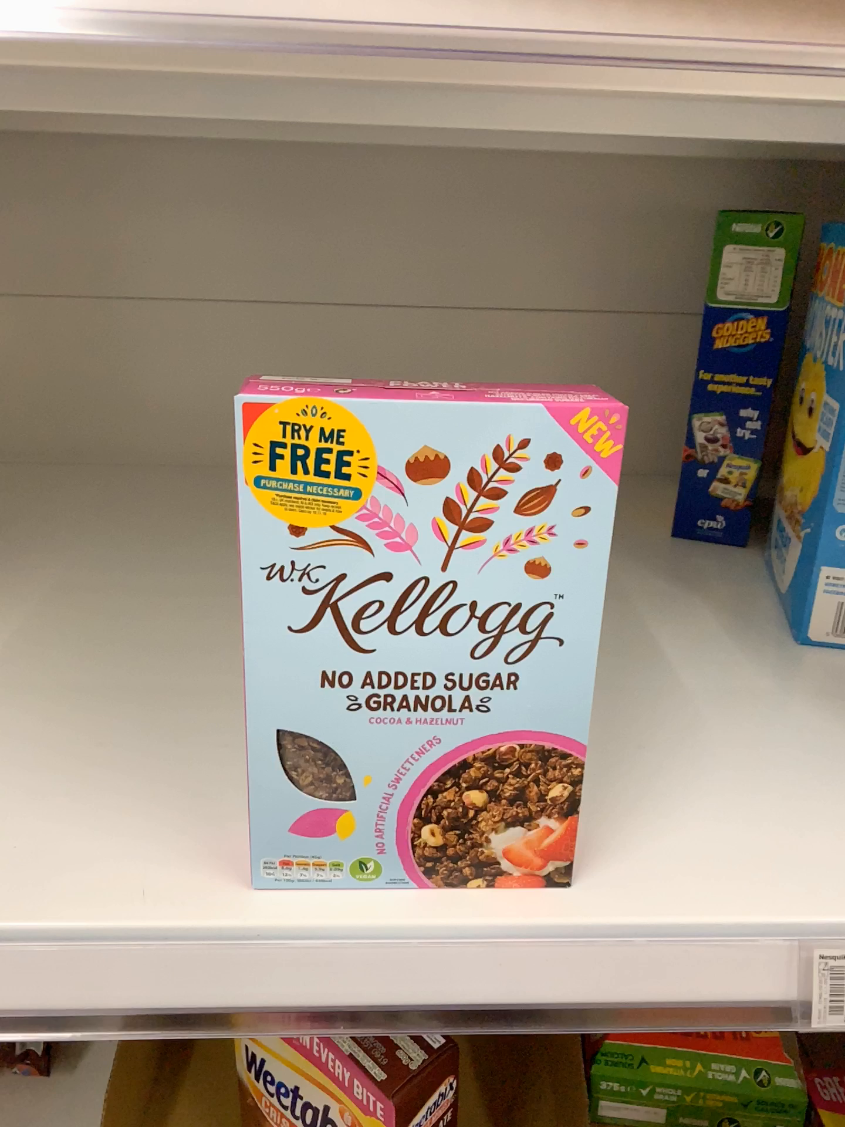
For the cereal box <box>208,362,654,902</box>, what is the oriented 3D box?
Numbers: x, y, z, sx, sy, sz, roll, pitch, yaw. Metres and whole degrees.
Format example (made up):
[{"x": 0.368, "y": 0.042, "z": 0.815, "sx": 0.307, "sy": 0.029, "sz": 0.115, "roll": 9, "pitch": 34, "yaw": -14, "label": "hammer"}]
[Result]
[{"x": -0.001, "y": 0.040, "z": 0.401, "sx": 0.170, "sy": 0.248, "sz": 0.050, "roll": 1, "pitch": 22, "yaw": -3, "label": "cereal box"}]
